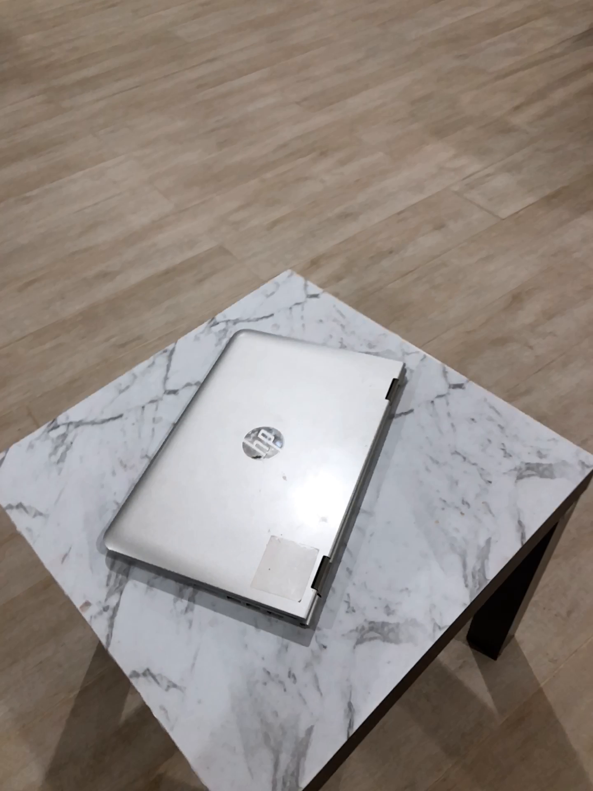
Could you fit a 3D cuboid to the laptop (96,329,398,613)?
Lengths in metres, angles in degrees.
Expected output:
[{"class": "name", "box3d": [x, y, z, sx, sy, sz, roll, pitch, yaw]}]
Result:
[{"class": "laptop", "box3d": [-0.035, 0.049, 0.639, 0.197, 0.001, 0.293, 14, 51, 17]}]
